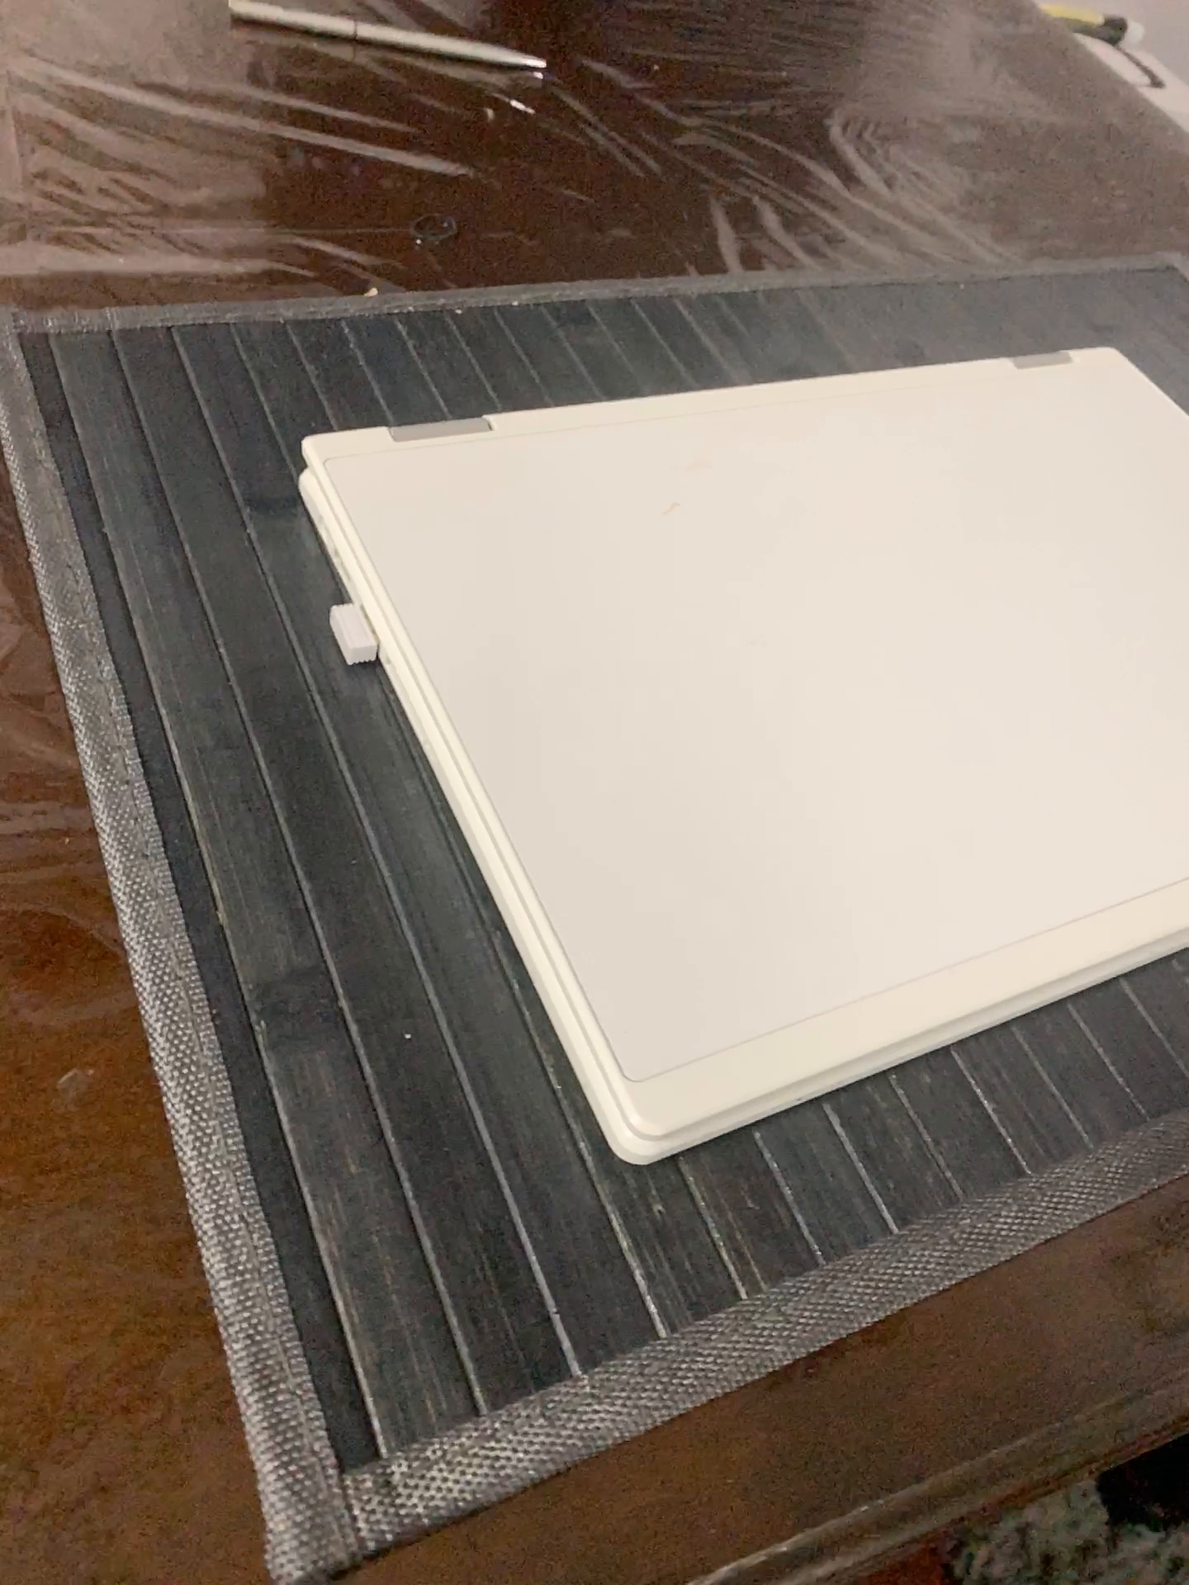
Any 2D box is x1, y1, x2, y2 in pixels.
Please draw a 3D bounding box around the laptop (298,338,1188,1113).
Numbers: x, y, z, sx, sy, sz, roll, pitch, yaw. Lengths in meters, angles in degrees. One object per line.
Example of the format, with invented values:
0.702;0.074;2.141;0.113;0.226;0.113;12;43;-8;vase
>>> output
0.090;-0.049;0.320;0.279;0.002;0.195;-14;57;-22;laptop
